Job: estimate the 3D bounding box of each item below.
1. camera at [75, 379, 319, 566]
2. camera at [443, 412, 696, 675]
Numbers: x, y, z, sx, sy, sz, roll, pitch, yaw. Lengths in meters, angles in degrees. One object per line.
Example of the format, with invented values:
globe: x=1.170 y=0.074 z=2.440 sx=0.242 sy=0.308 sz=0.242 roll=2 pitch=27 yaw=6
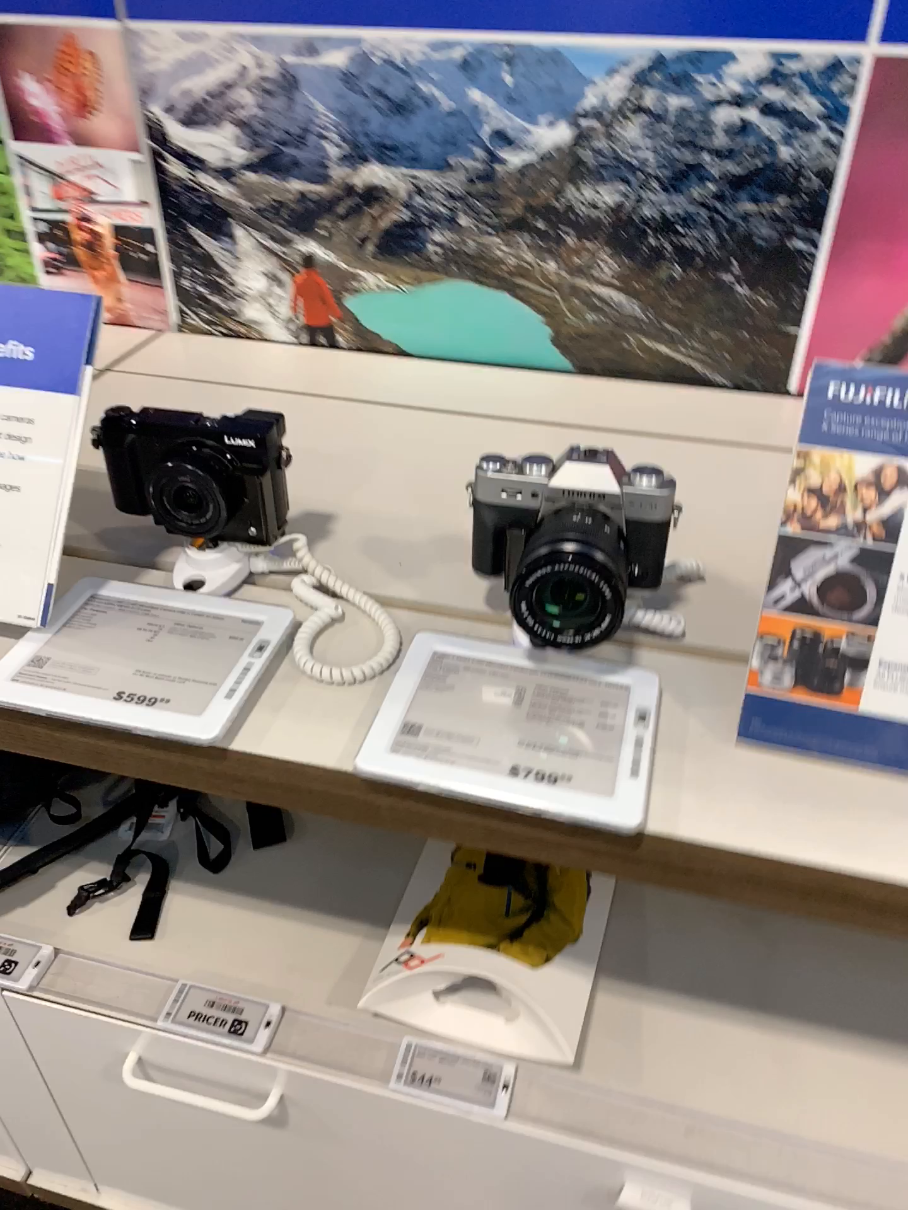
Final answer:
camera: x=-0.158 y=-0.086 z=0.588 sx=0.120 sy=0.080 sz=0.070 roll=9 pitch=38 yaw=11
camera: x=0.066 y=-0.039 z=0.519 sx=0.120 sy=0.080 sz=0.121 roll=8 pitch=38 yaw=10
